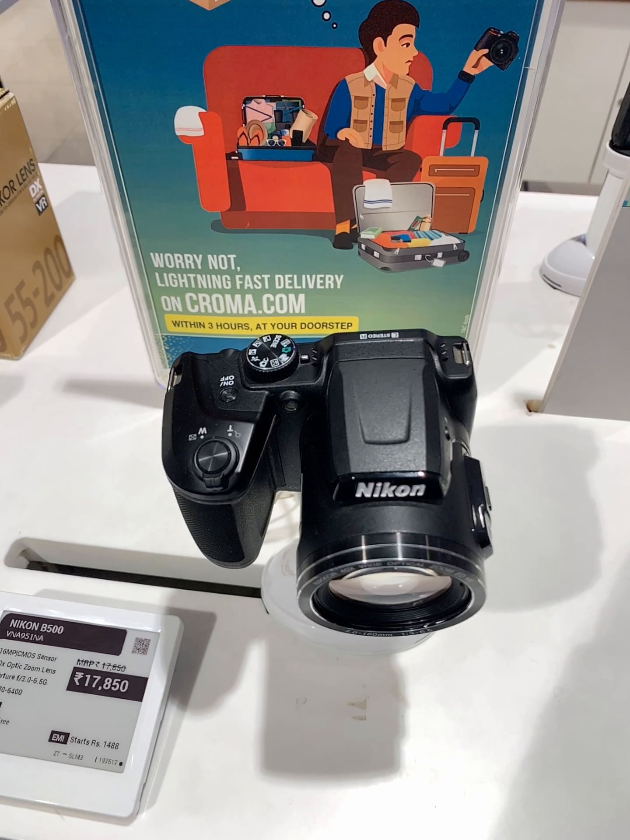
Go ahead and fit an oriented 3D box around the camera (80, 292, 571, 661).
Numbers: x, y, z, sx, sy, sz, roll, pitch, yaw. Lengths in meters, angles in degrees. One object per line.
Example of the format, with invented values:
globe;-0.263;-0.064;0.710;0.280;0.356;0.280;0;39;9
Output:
camera;0.002;0.019;0.218;0.120;0.080;0.090;-2;48;0
